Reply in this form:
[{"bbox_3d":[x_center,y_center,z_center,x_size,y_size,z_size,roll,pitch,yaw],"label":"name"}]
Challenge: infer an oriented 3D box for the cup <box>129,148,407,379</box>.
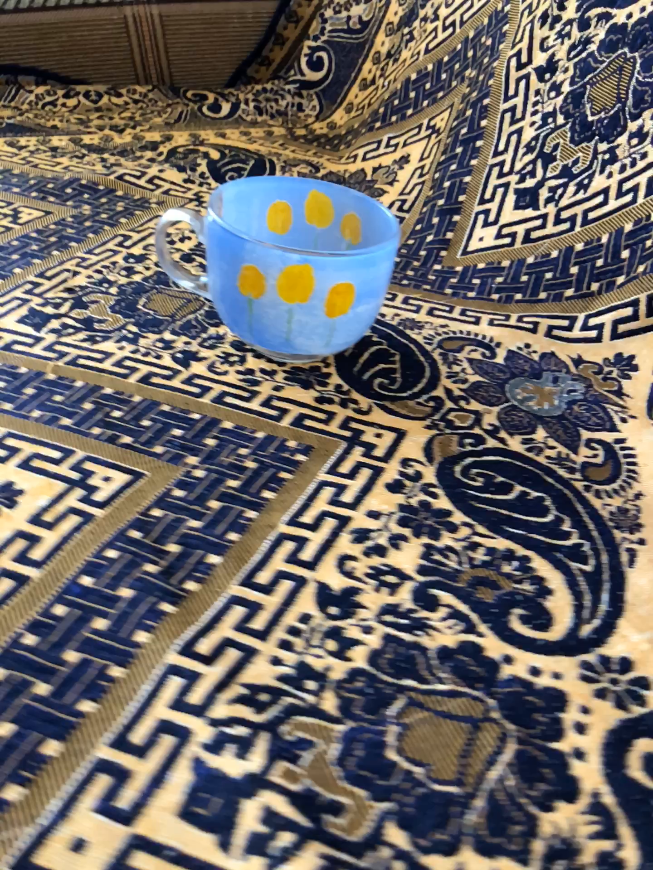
[{"bbox_3d":[-0.029,-0.105,0.426,0.138,0.072,0.109,9,41,1],"label":"cup"}]
